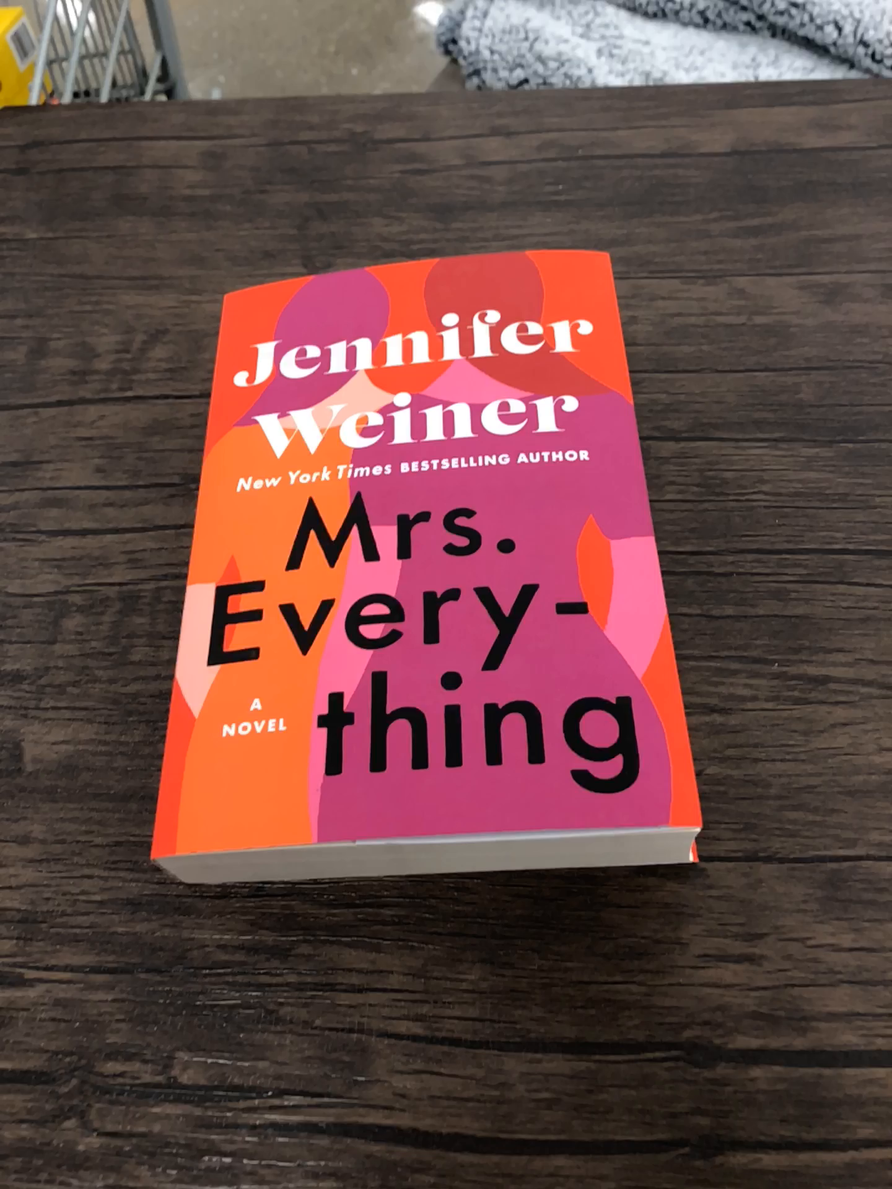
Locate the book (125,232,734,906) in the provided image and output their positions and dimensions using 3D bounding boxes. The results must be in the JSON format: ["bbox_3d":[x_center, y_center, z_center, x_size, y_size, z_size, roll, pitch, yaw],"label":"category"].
[{"bbox_3d":[-0.007,-0.021,0.340,0.161,0.046,0.232,-4,59,3],"label":"book"}]
